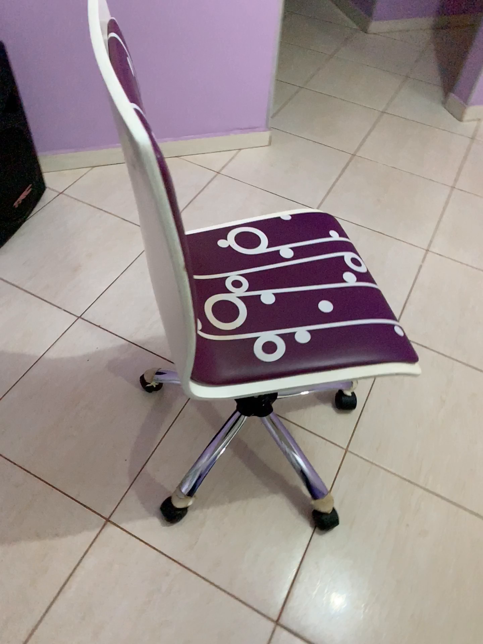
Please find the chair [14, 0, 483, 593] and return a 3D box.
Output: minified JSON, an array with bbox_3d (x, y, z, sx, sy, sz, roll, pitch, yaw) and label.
[{"bbox_3d":[0.043,-0.026,0.965,0.620,1.007,0.689,-9,53,-12],"label":"chair"}]
